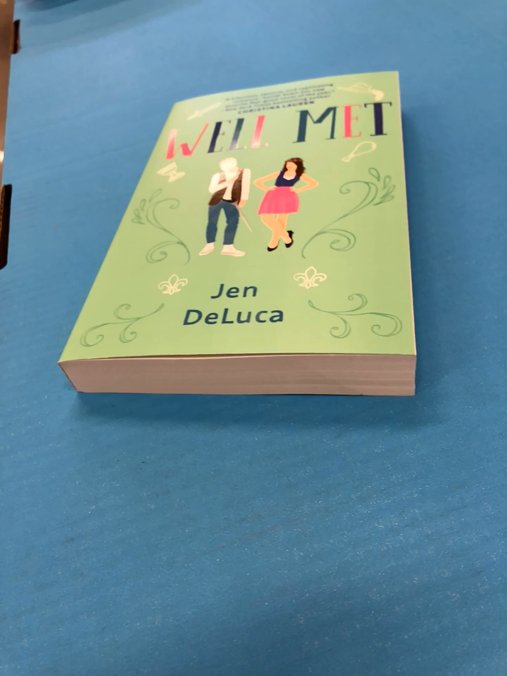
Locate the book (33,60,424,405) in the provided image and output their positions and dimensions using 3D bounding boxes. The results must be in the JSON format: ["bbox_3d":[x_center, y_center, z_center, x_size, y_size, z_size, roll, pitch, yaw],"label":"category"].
[{"bbox_3d":[0.003,-0.066,0.285,0.146,0.030,0.216,-1,49,13],"label":"book"}]
